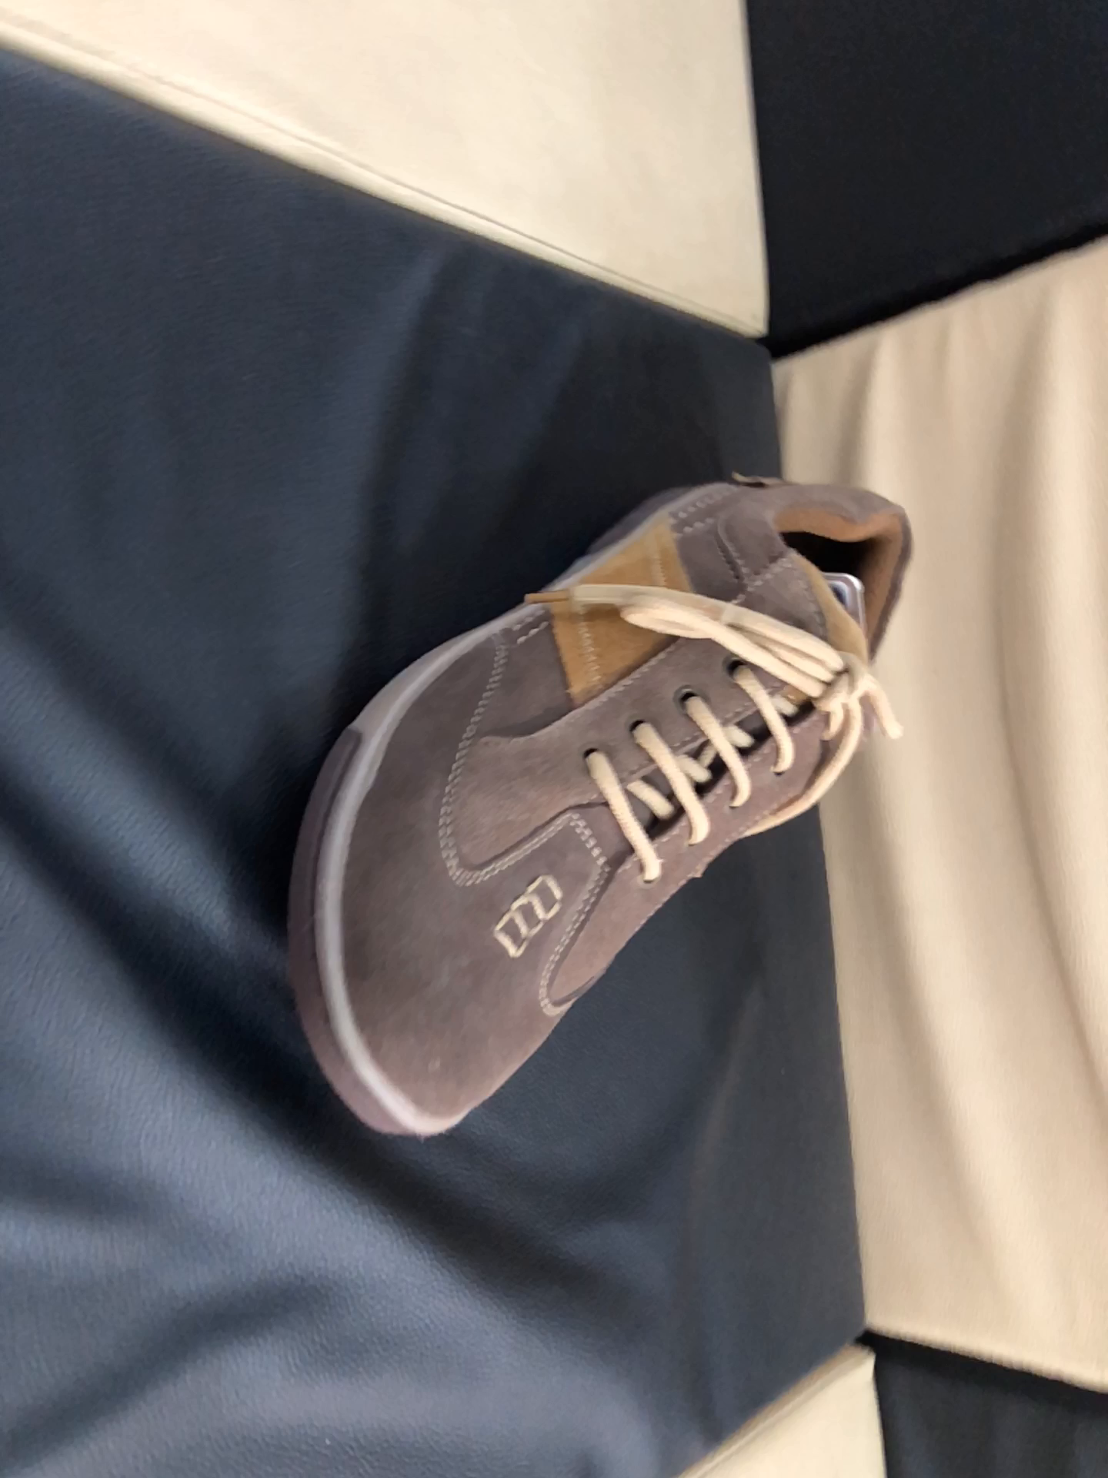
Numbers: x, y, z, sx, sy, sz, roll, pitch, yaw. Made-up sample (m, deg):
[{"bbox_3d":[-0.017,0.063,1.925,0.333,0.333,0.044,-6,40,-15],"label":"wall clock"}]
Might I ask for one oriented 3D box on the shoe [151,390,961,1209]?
[{"bbox_3d":[0.029,-0.005,0.392,0.292,0.079,0.100,-44,115,-41],"label":"shoe"}]
